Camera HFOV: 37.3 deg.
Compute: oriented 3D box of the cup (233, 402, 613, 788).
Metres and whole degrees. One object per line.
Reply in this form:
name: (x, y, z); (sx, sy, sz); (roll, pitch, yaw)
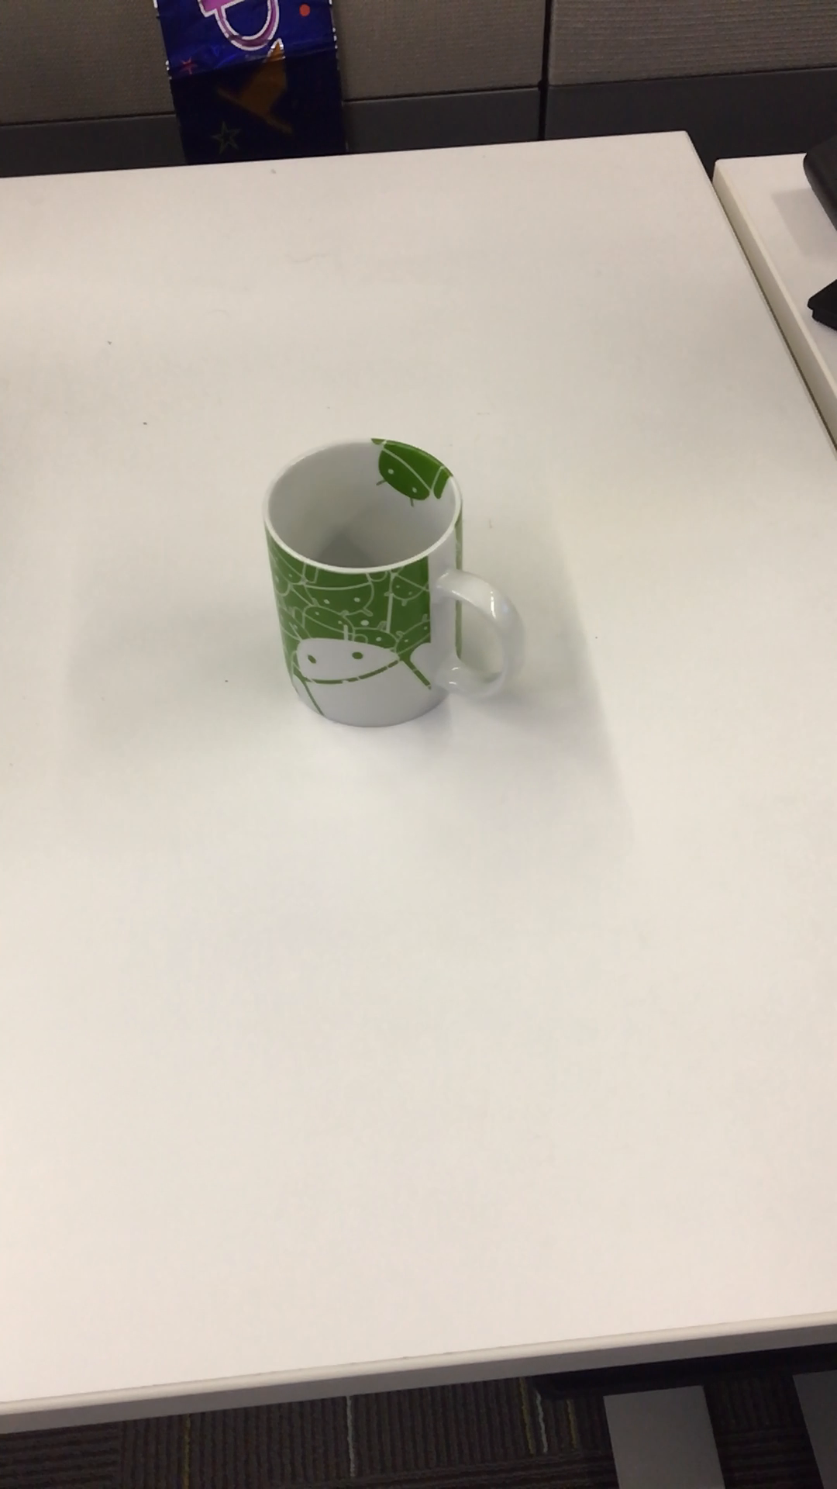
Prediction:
cup: (0.003, -0.064, 0.524); (0.120, 0.090, 0.090); (25, 57, 19)
